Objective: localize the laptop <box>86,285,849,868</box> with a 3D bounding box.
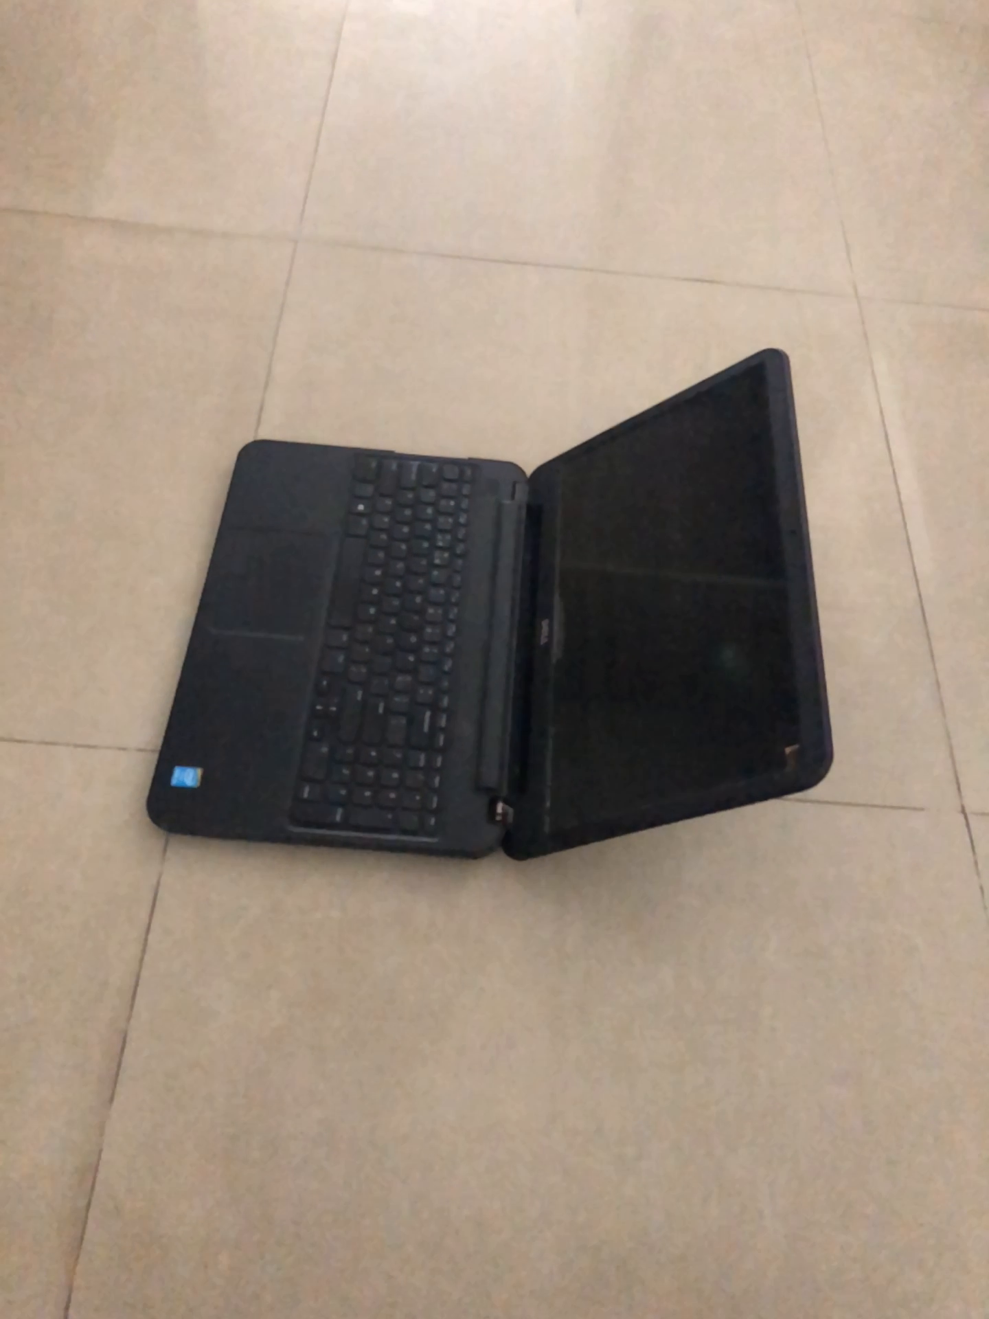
[{"bbox_3d":[-0.008,-0.066,0.775,0.427,0.164,0.359,5,58,0],"label":"laptop"}]
